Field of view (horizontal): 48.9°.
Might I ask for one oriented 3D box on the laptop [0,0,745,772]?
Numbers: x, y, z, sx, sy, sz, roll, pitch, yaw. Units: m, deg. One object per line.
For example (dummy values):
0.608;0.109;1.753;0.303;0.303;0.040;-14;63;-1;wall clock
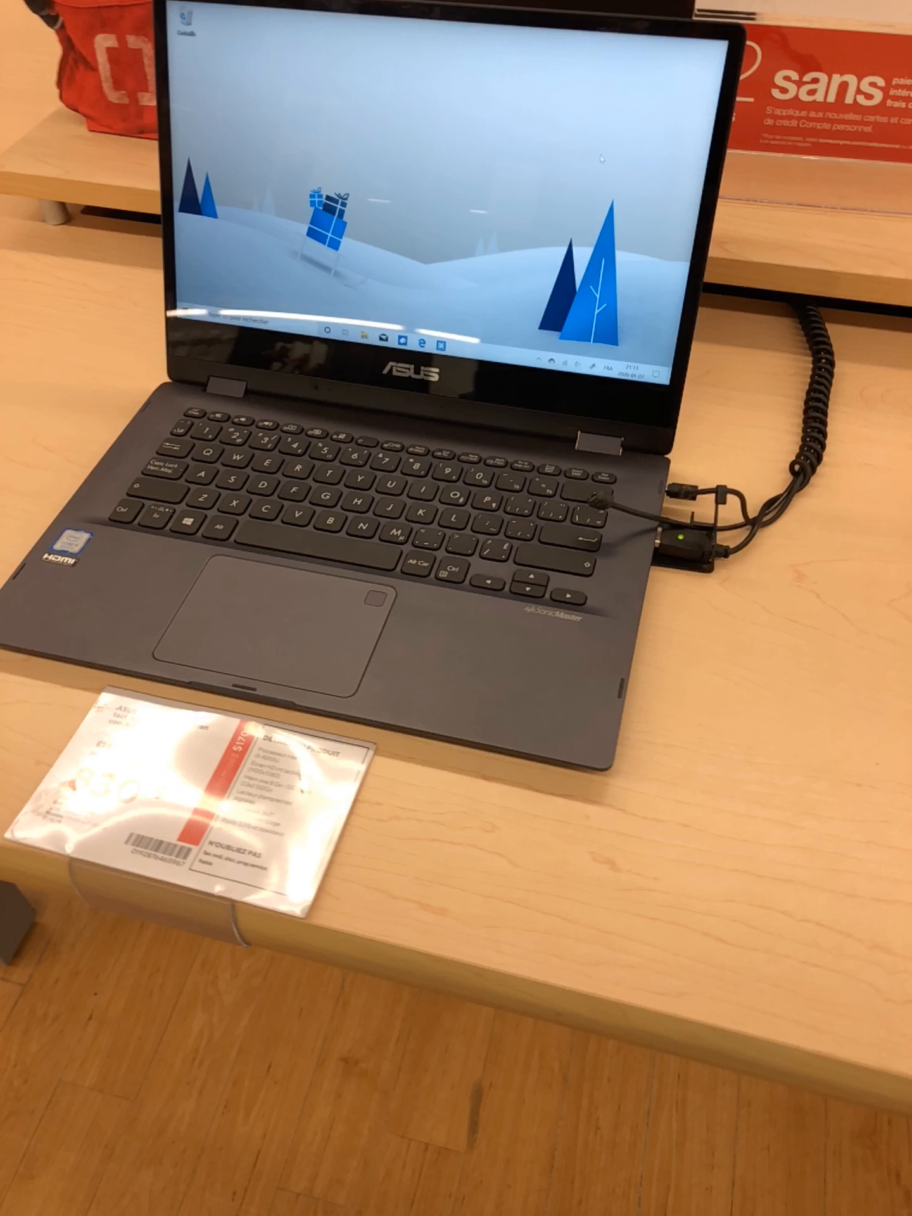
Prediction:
-0.048;-0.136;0.494;0.313;0.188;0.314;11;50;11;laptop
